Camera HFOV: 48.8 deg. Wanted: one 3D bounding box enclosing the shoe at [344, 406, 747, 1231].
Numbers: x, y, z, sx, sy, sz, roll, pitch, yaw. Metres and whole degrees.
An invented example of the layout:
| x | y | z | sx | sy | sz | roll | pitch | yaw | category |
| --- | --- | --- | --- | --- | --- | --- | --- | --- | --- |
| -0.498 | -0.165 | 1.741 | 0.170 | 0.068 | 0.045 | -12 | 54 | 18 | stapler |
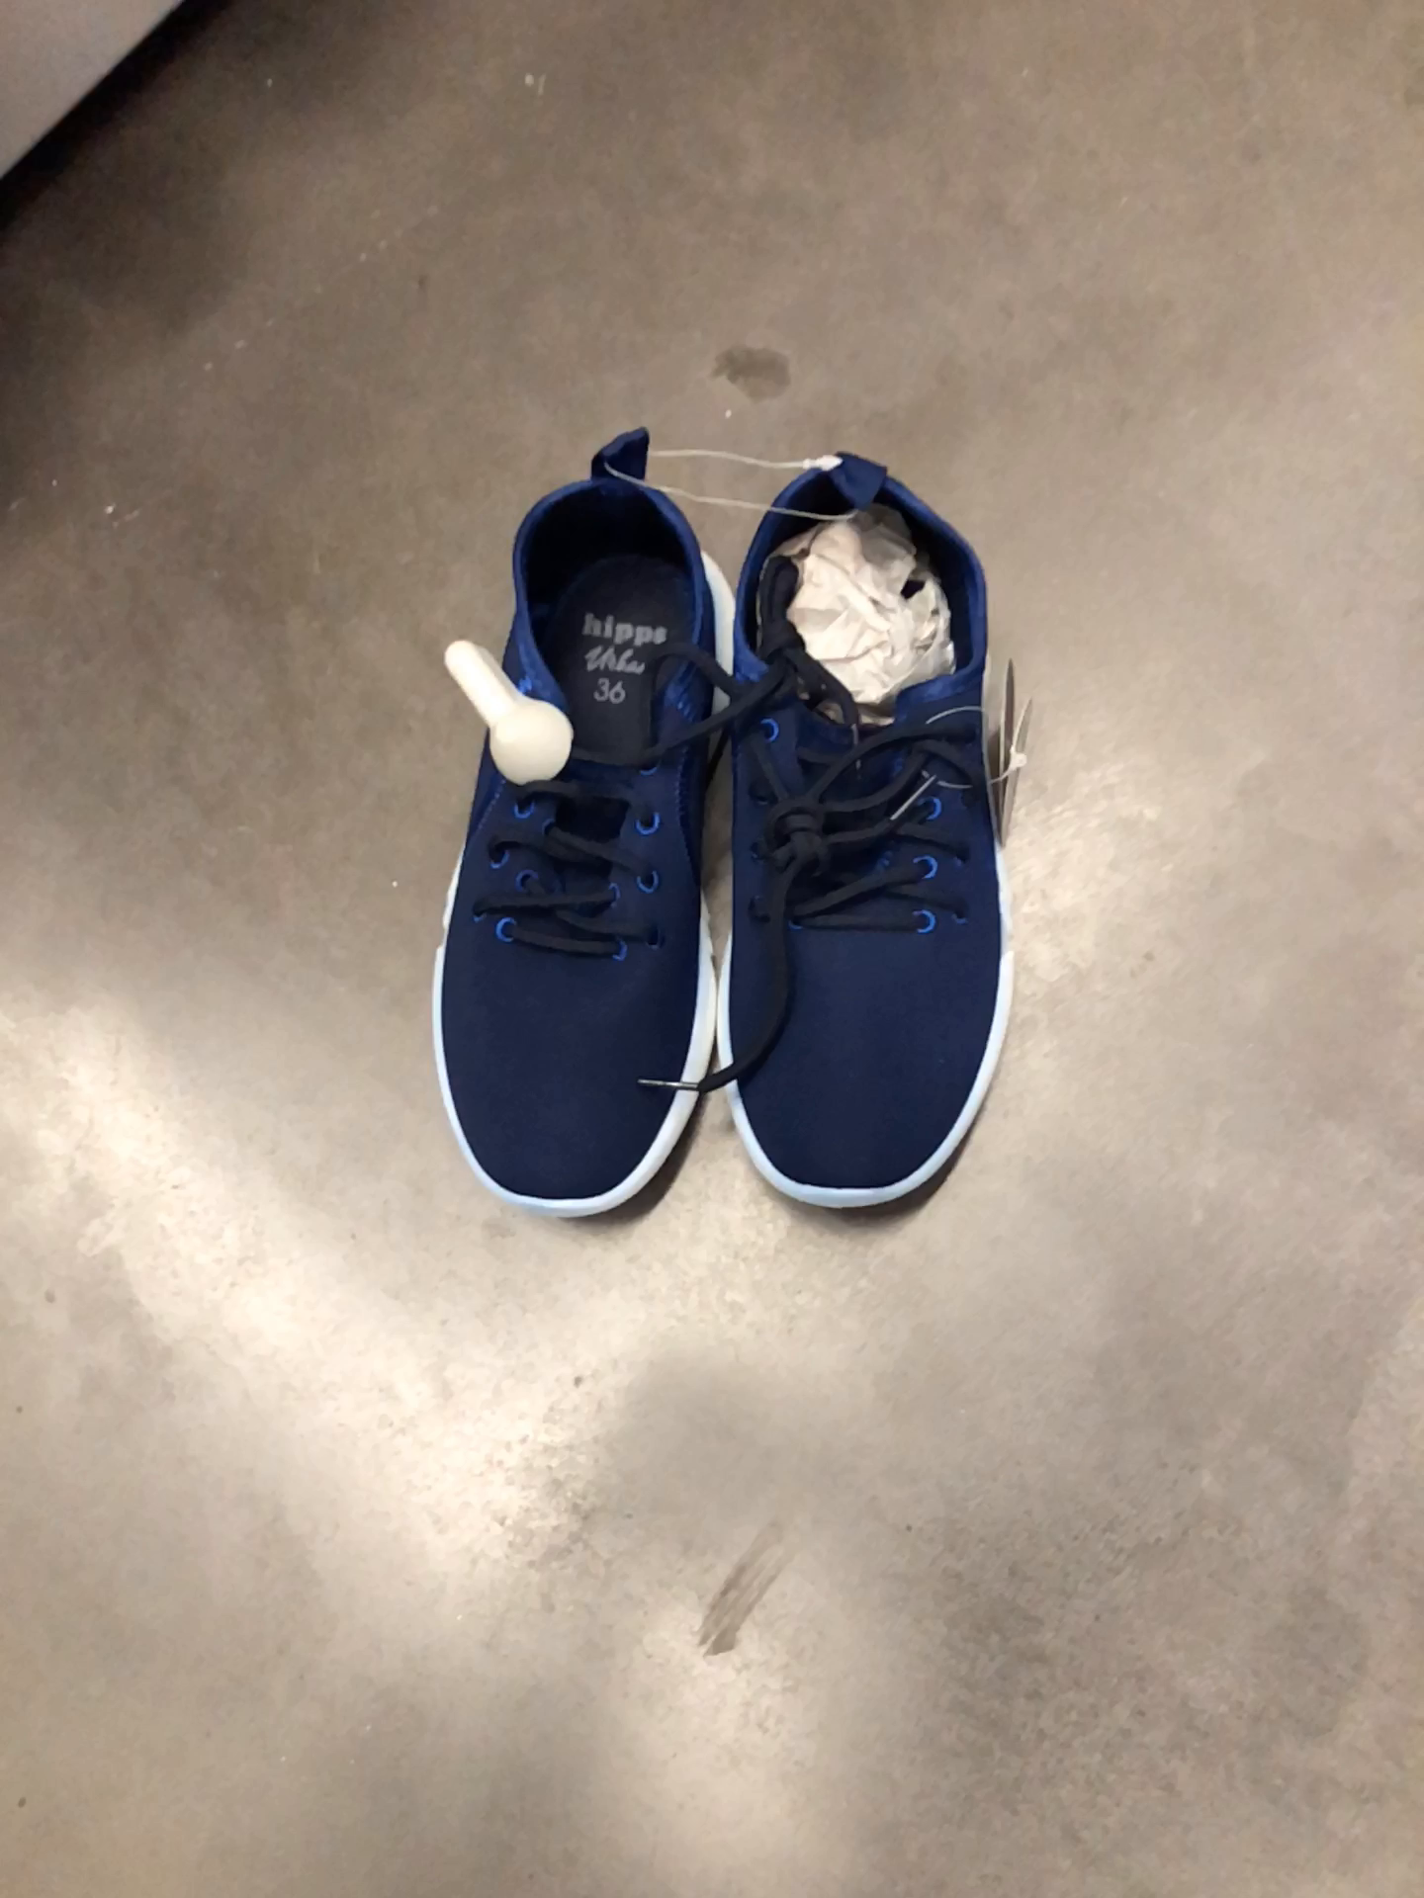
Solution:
| x | y | z | sx | sy | sz | roll | pitch | yaw | category |
| --- | --- | --- | --- | --- | --- | --- | --- | --- | --- |
| -0.043 | -0.040 | 0.493 | 0.090 | 0.090 | 0.240 | 2 | 73 | 5 | shoe |

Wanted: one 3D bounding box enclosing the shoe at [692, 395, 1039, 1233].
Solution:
| x | y | z | sx | sy | sz | roll | pitch | yaw | category |
| --- | --- | --- | --- | --- | --- | --- | --- | --- | --- |
| 0.050 | -0.041 | 0.486 | 0.090 | 0.090 | 0.240 | 2 | 73 | 5 | shoe |
